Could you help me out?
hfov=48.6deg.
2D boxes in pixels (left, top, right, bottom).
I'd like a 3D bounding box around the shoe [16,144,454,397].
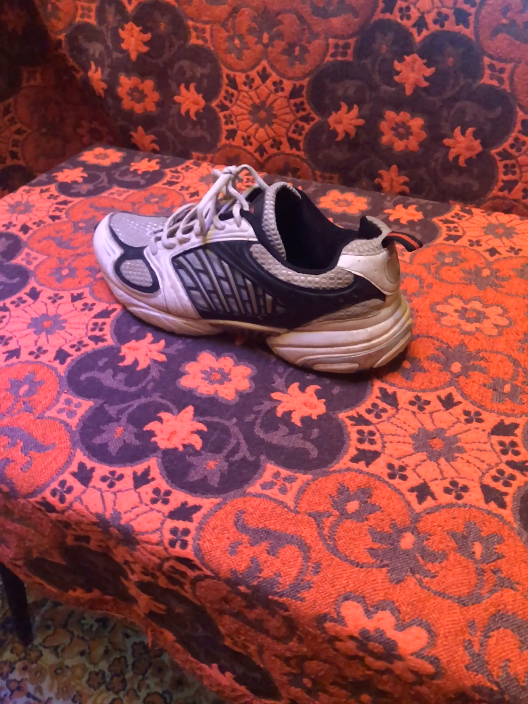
[{"bbox_3d":[-0.026,-0.080,0.469,0.310,0.090,0.120,16,43,20],"label":"shoe"}]
